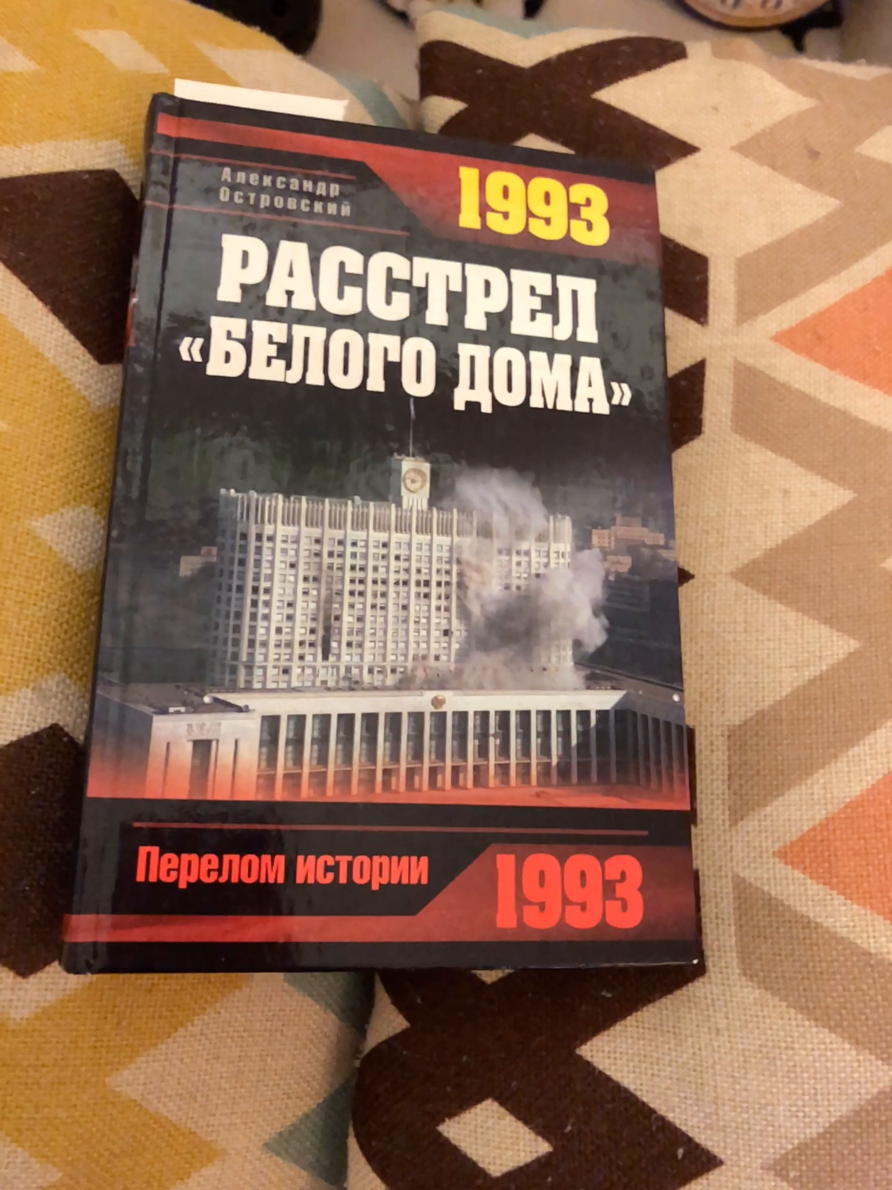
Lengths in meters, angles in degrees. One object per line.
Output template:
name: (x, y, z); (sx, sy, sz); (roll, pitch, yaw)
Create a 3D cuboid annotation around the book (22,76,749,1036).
book: (-0.007, -0.013, 0.232); (0.140, 0.030, 0.210); (4, 75, -9)
